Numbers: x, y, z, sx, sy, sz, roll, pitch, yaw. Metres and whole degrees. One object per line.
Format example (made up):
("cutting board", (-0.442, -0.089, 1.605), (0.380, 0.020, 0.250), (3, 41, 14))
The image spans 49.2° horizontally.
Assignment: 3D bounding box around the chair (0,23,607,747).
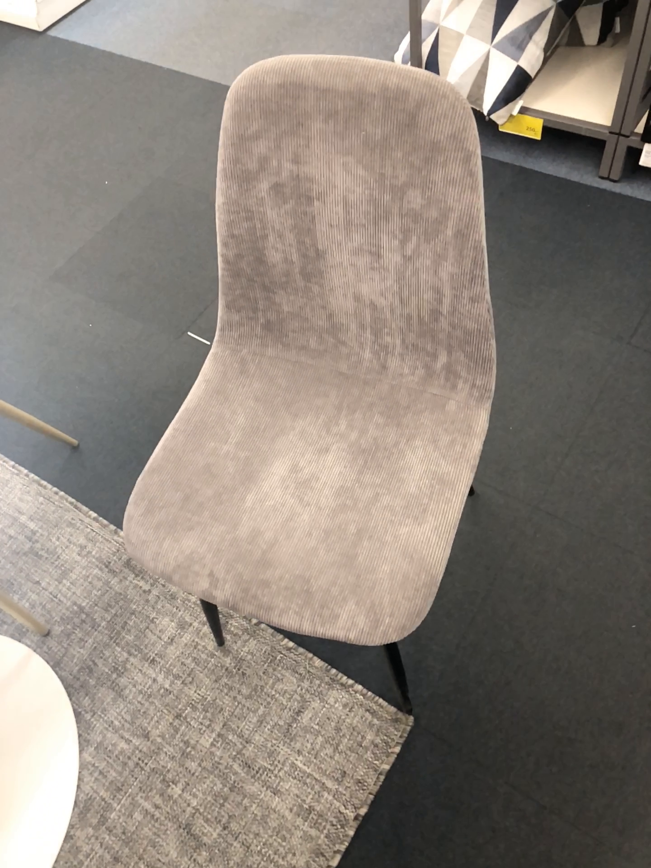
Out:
("chair", (-0.029, -0.016, 1.056), (0.580, 0.808, 0.581), (17, 61, 18))
